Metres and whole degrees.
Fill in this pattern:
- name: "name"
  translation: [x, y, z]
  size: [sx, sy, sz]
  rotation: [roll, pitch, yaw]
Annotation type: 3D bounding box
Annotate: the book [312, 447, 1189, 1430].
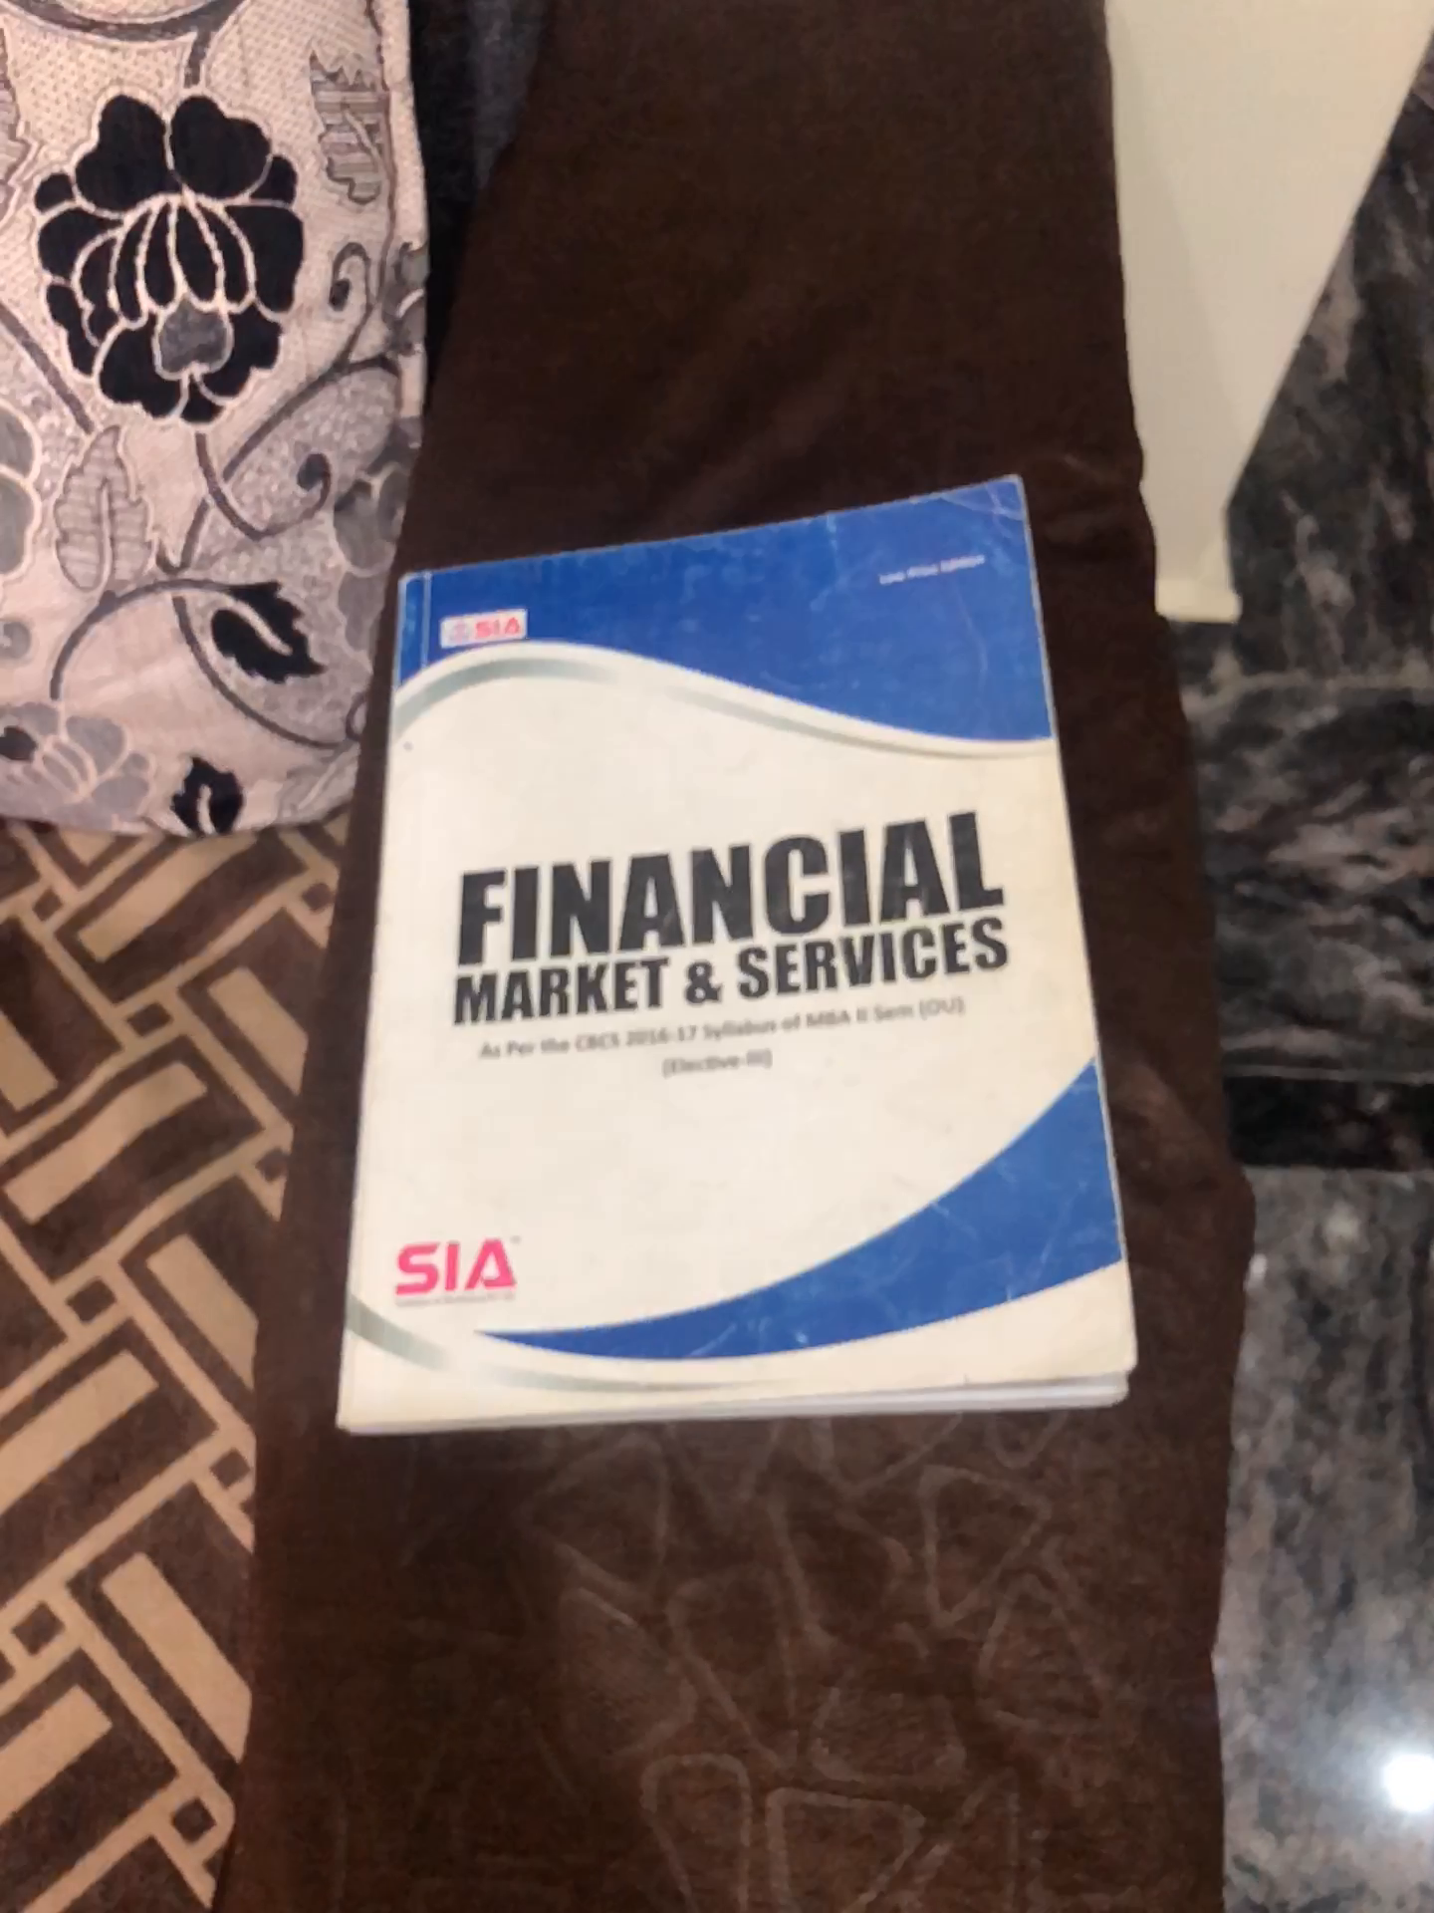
- name: "book"
  translation: [0.001, -0.020, 0.485]
  size: [0.220, 0.040, 0.300]
  rotation: [-3, 64, -1]
